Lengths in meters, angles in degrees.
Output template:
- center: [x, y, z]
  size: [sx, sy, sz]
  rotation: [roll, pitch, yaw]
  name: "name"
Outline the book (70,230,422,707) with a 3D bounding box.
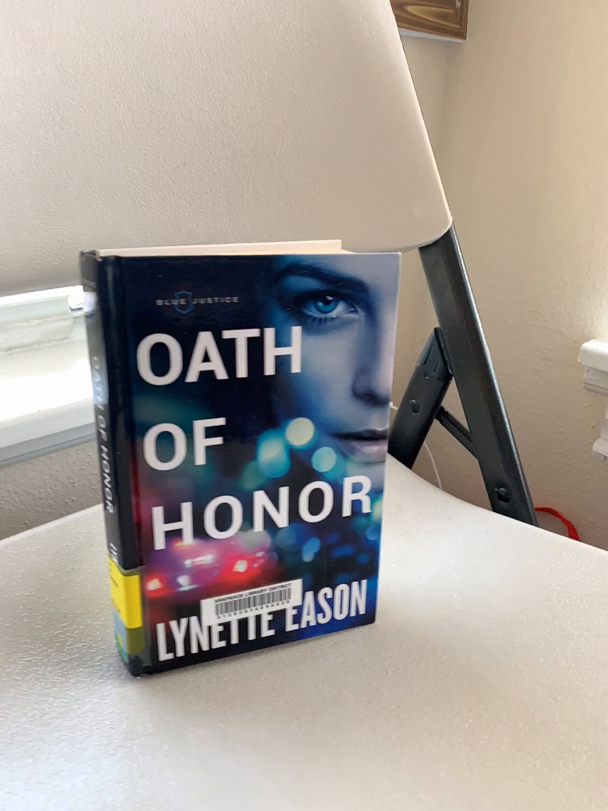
- center: [-0.025, 0.024, 0.331]
  size: [0.154, 0.217, 0.063]
  rotation: [-9, 20, -25]
  name: "book"
